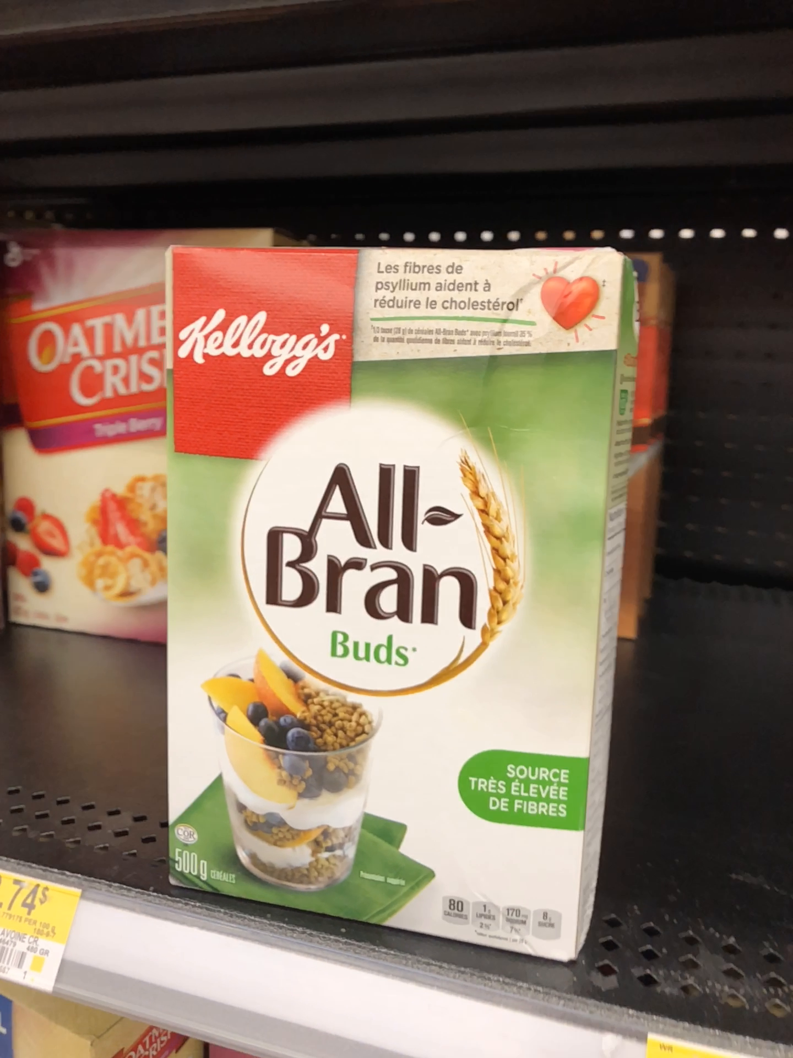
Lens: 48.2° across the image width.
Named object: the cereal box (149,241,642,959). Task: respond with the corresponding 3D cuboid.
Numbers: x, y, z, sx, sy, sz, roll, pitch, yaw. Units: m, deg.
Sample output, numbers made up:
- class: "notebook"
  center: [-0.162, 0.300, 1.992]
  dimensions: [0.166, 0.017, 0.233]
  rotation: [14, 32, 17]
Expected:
- class: "cereal box"
  center: [-0.002, 0.019, 0.304]
  dimensions: [0.150, 0.219, 0.050]
  rotation: [4, 11, 15]
